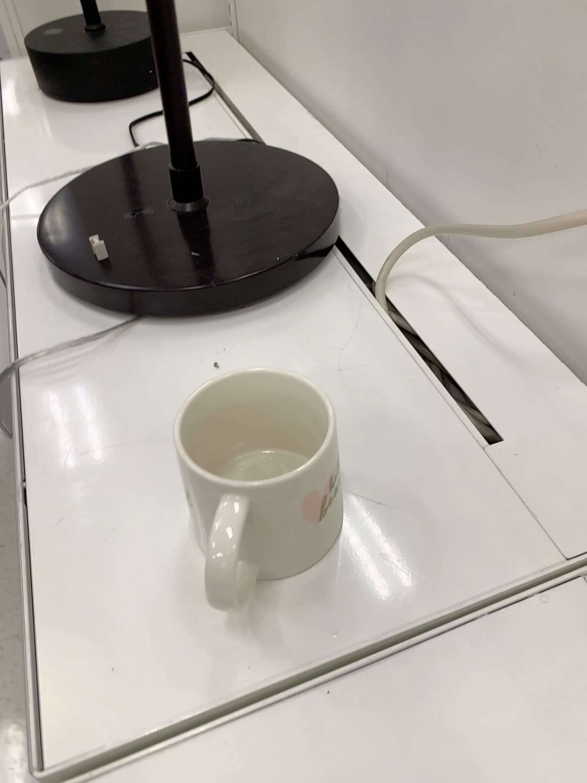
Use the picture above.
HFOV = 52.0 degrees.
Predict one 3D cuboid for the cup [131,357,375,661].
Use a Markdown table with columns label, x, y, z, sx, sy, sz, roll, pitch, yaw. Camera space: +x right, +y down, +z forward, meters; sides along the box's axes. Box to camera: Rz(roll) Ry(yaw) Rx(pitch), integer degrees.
| label | x | y | z | sx | sy | sz | roll | pitch | yaw |
| --- | --- | --- | --- | --- | --- | --- | --- | --- | --- |
| cup | -0.012 | 0.066 | 0.372 | 0.104 | 0.097 | 0.140 | 6 | 44 | 11 |
